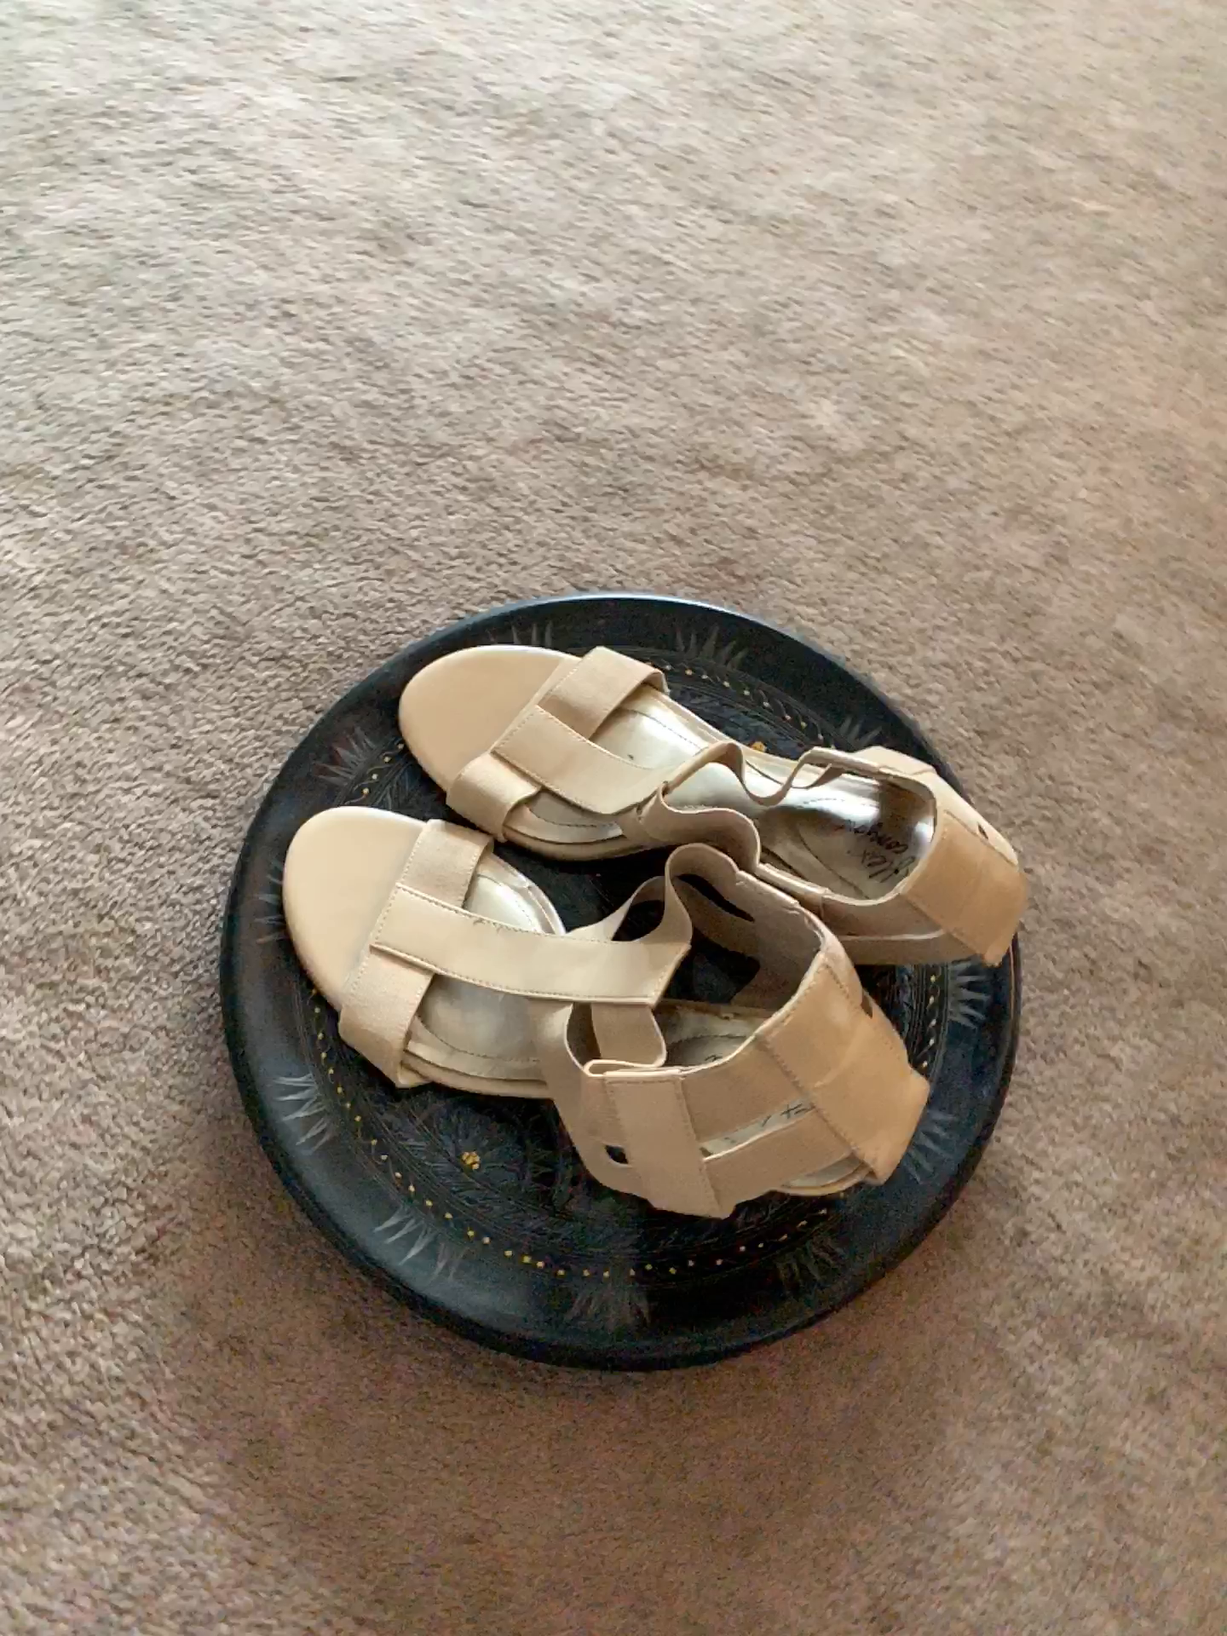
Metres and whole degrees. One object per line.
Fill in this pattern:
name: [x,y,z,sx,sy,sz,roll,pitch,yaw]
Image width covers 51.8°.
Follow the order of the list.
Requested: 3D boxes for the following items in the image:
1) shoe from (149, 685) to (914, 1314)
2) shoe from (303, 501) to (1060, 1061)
shoe: [-0.025,0.055,0.415,0.220,0.090,0.090,25,67,22]
shoe: [0.024,-0.016,0.452,0.230,0.090,0.100,22,75,21]
